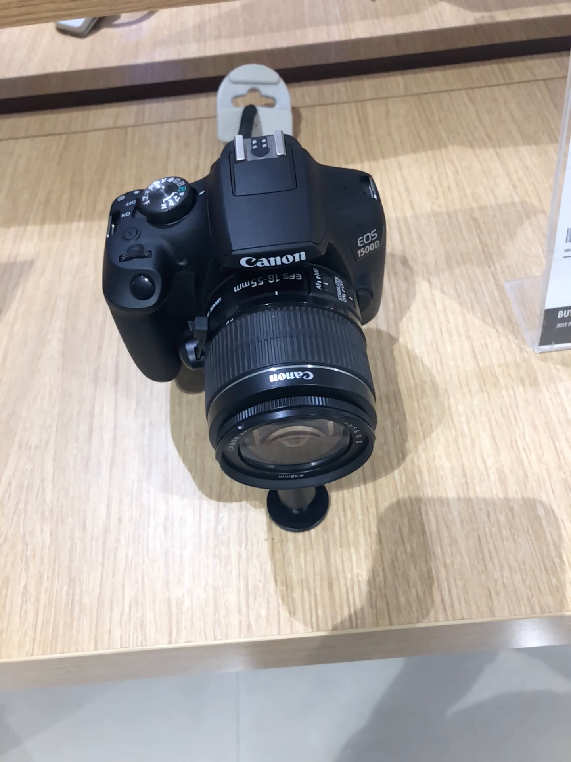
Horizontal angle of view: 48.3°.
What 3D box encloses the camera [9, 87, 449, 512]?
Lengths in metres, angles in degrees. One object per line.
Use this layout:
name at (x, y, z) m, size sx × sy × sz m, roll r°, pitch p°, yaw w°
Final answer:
camera at (-0.017, -0.035, 0.264) m, size 0.130 × 0.090 × 0.141 m, roll -5°, pitch 54°, yaw 3°
